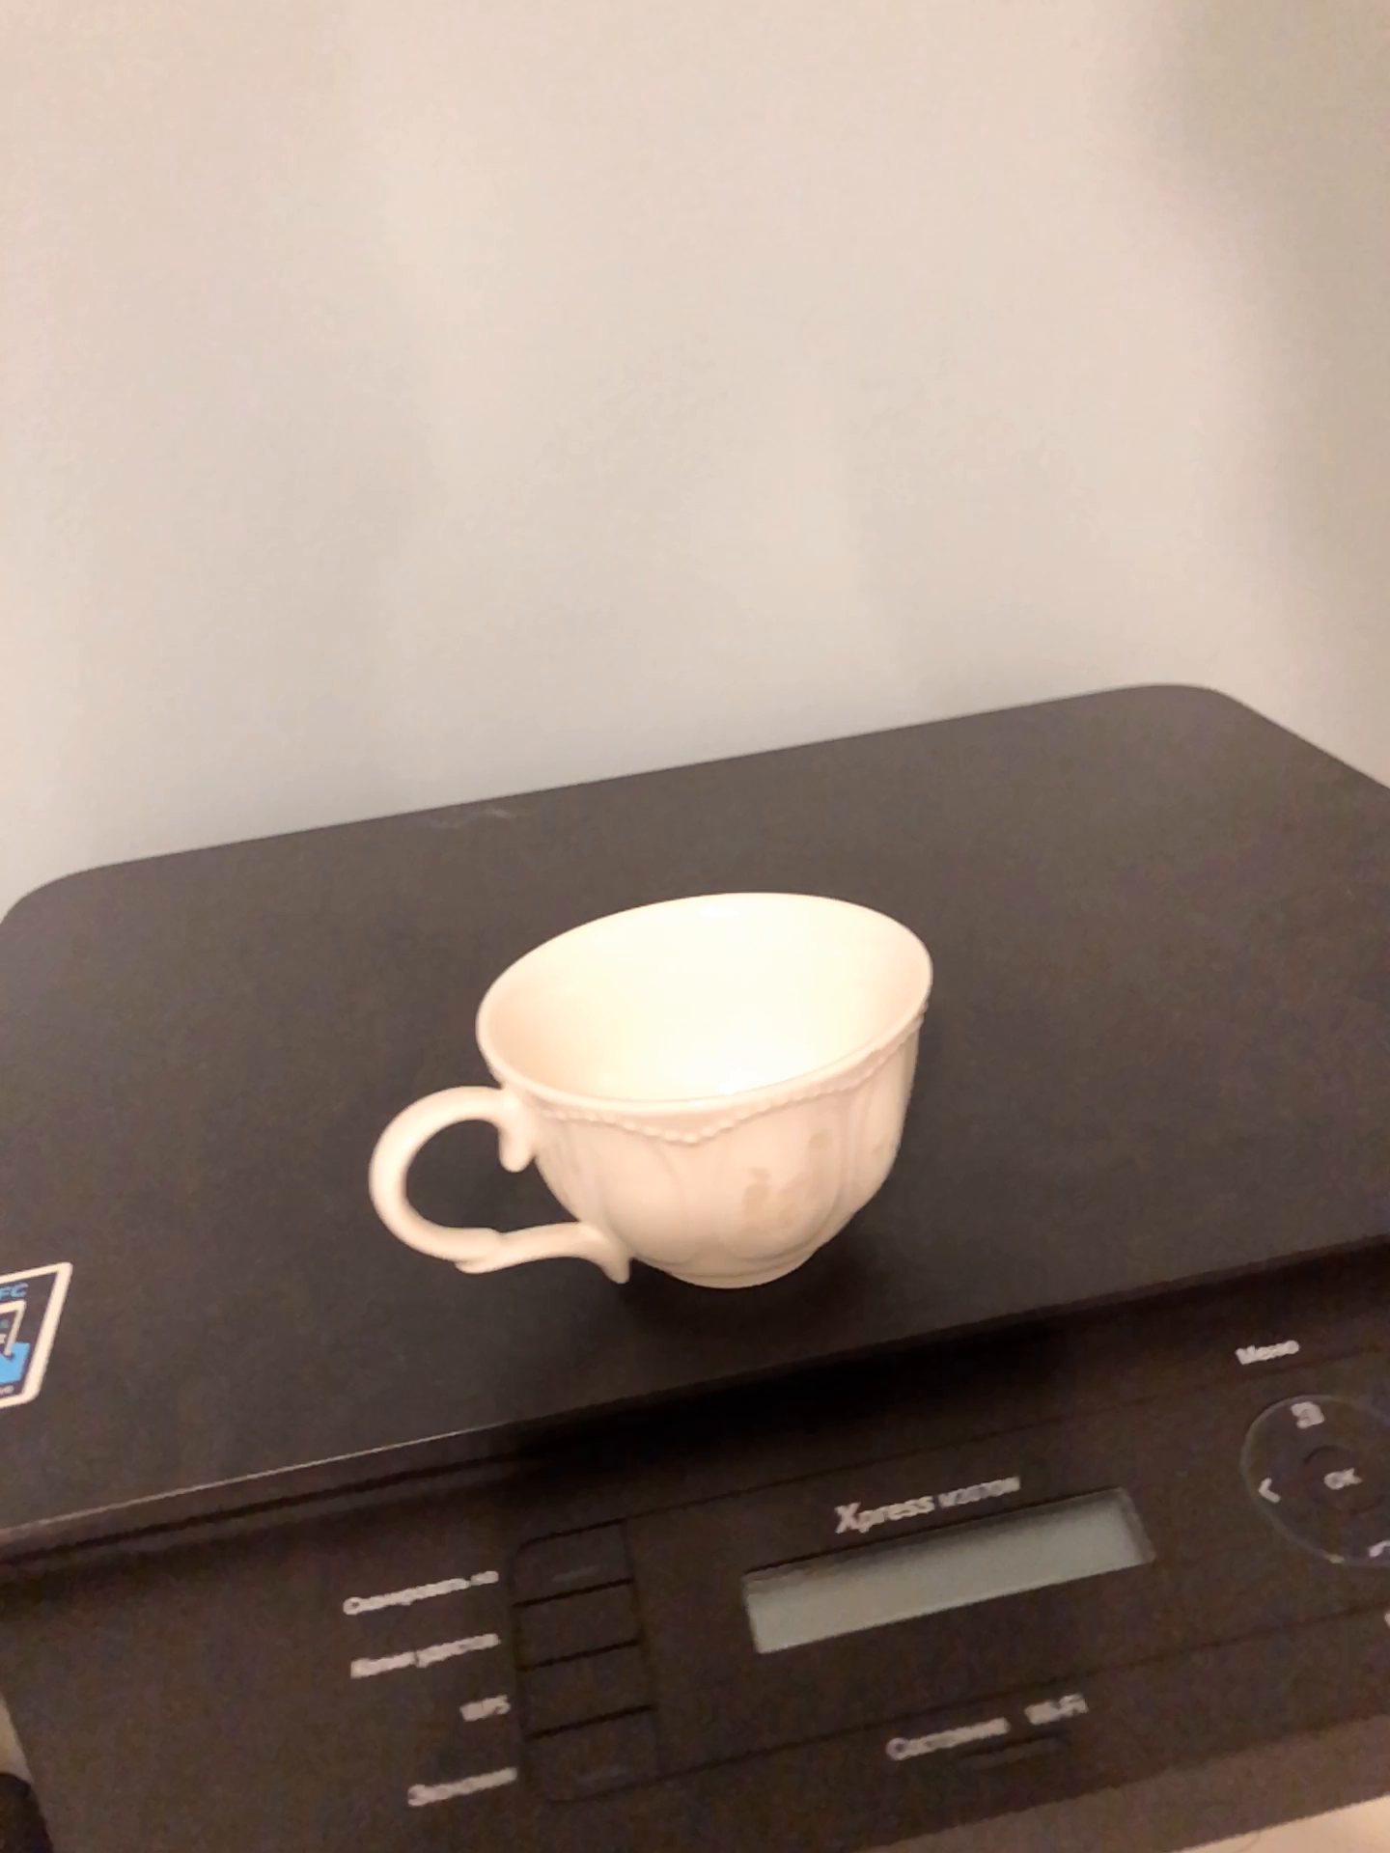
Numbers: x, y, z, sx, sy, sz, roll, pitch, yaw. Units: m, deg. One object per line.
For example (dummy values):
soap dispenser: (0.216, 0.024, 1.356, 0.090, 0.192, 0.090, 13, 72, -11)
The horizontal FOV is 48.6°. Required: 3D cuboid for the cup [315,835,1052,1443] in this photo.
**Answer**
cup: (-0.002, 0.027, 0.256, 0.094, 0.044, 0.076, -18, 27, -26)
